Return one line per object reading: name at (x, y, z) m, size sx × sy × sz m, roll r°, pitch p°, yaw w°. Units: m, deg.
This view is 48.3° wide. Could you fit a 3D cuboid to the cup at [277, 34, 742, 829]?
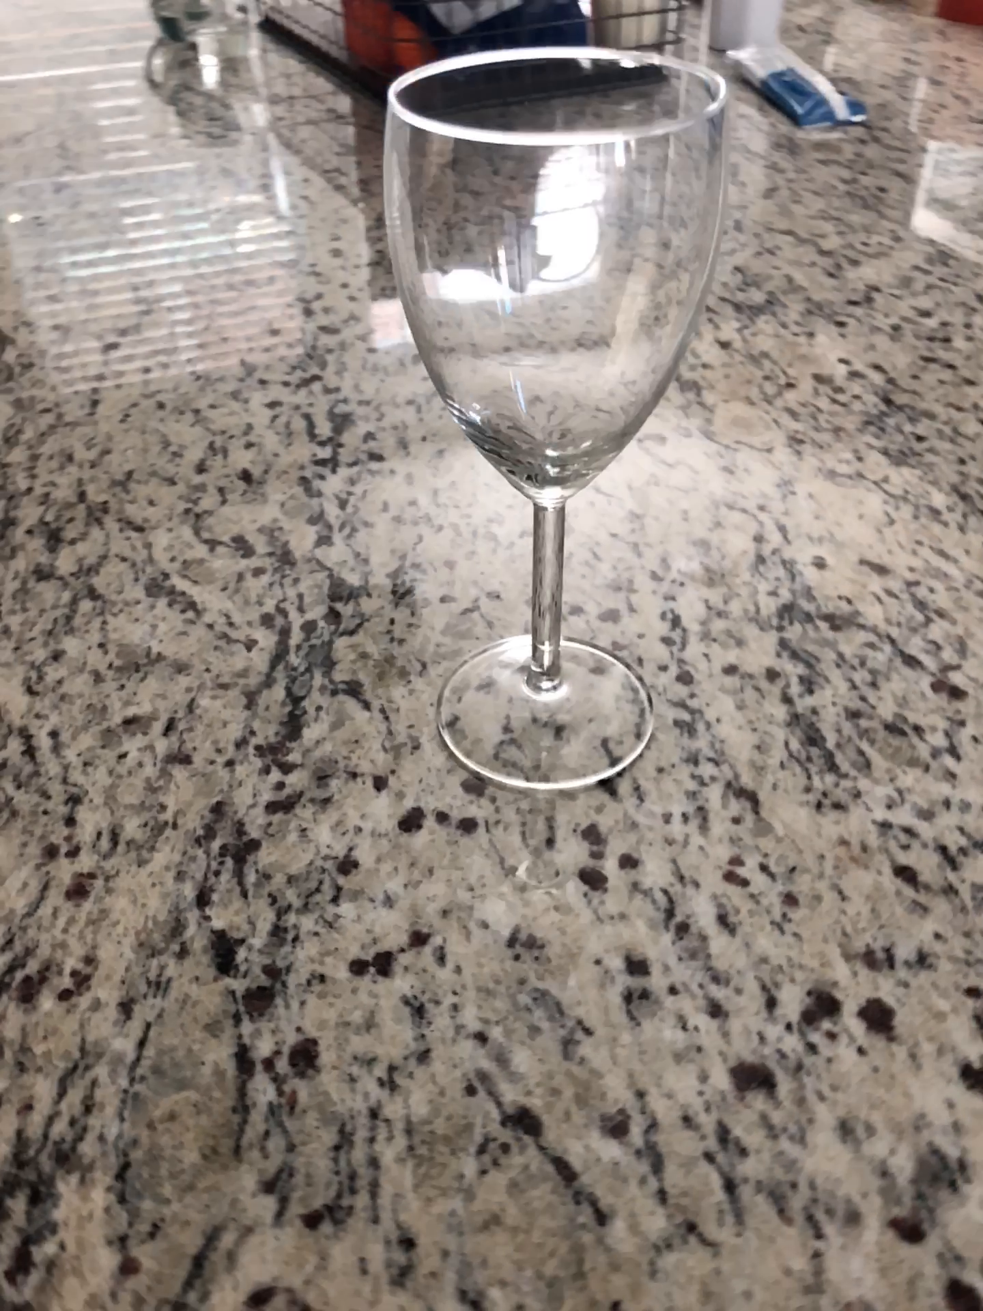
cup at (0.010, -0.049, 0.270) m, size 0.080 × 0.169 × 0.081 m, roll -1°, pitch 40°, yaw 1°
